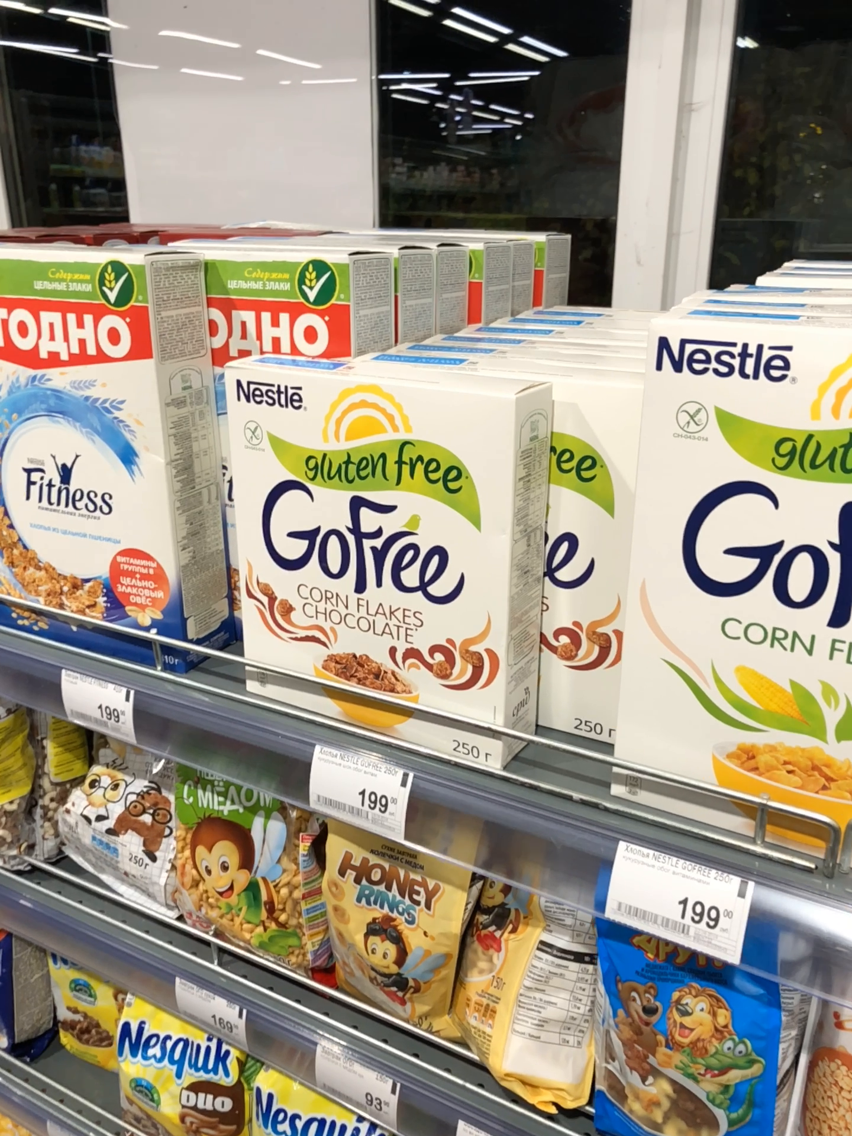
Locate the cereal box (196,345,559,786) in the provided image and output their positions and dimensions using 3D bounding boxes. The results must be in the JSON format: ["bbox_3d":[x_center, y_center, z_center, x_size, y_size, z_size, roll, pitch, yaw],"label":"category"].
[{"bbox_3d":[-0.033,-0.010,0.553,0.200,0.219,0.060,12,22,29],"label":"cereal box"}]
